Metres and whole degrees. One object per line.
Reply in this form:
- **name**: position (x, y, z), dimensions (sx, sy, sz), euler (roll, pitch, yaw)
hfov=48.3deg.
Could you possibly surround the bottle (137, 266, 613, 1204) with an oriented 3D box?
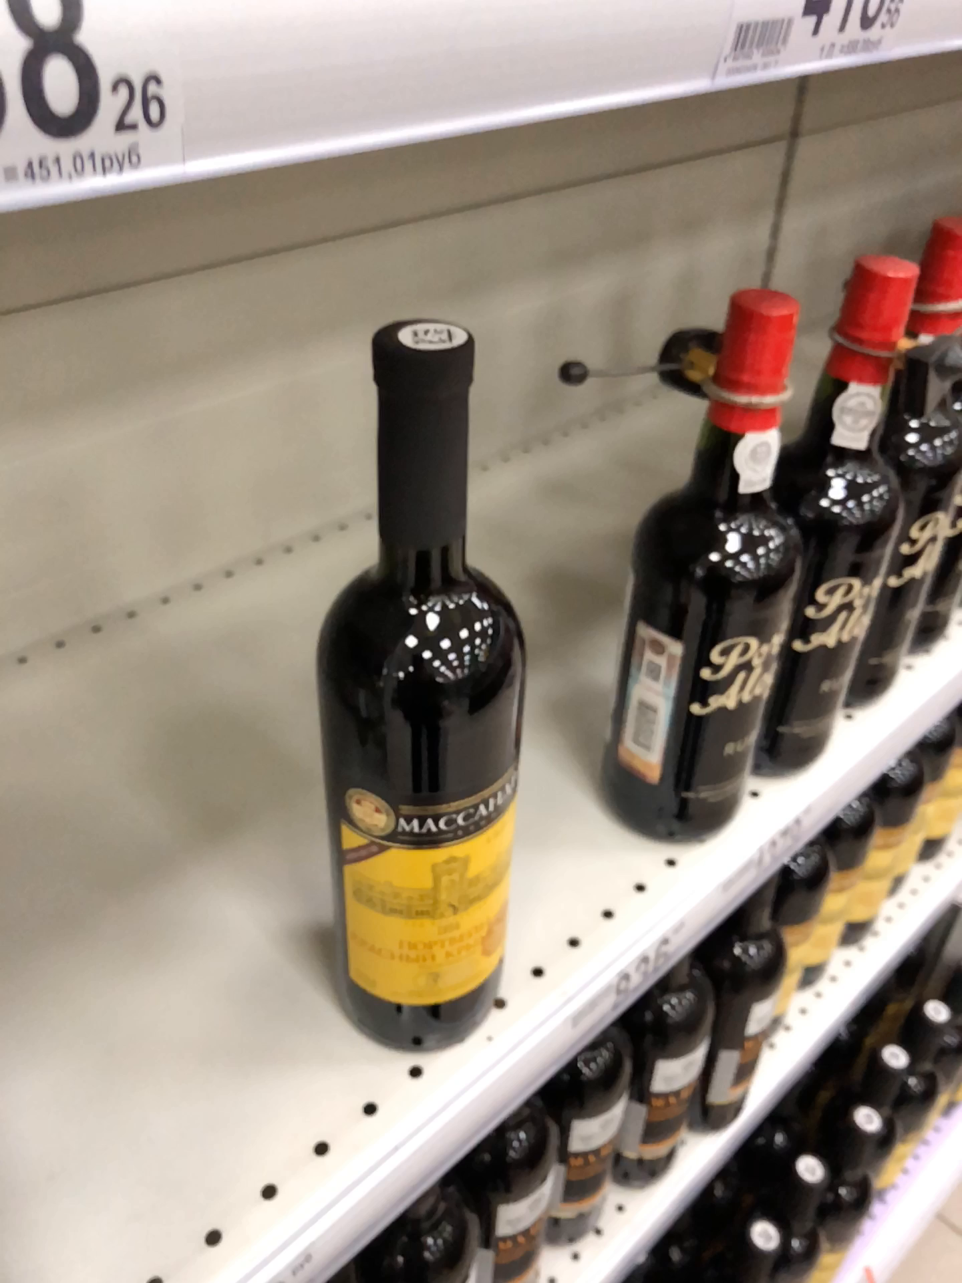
- **bottle**: position (-0.038, 0.056, 0.404), dimensions (0.100, 0.348, 0.100), euler (1, 36, -1)
